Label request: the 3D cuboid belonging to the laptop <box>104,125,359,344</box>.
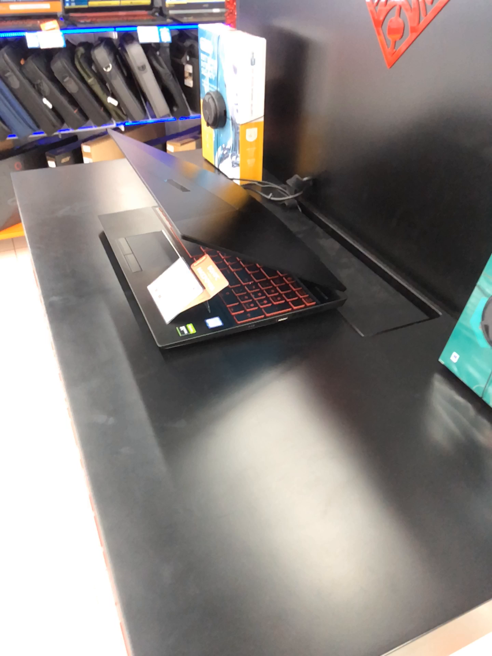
[{"bbox_3d":[-0.044,-0.153,0.724,0.231,0.121,0.352,-13,37,-16],"label":"laptop"}]
